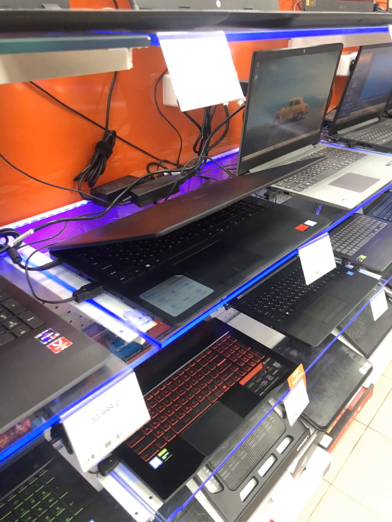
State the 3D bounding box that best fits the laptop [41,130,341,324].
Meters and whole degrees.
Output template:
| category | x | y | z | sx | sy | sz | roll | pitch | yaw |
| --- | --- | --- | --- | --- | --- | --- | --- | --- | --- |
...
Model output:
| category | x | y | z | sx | sy | sz | roll | pitch | yaw |
| --- | --- | --- | --- | --- | --- | --- | --- | --- | --- |
| laptop | 0.011 | -0.088 | 0.626 | 0.238 | 0.100 | 0.372 | 23 | 37 | 35 |
